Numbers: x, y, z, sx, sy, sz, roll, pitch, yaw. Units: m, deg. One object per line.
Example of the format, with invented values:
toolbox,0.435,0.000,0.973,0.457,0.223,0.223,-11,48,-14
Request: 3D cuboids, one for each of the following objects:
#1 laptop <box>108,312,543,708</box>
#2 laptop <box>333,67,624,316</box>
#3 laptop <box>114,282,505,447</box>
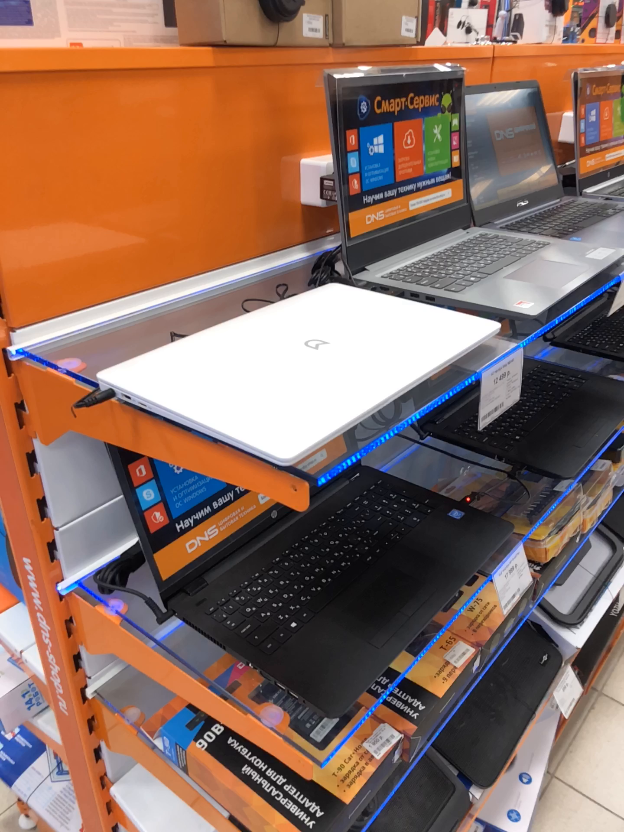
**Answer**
laptop,0.025,0.066,0.801,0.306,0.228,0.365,21,35,37
laptop,0.234,-0.309,0.857,0.279,0.224,0.345,19,33,33
laptop,0.011,-0.068,0.631,0.212,0.002,0.313,20,34,34
